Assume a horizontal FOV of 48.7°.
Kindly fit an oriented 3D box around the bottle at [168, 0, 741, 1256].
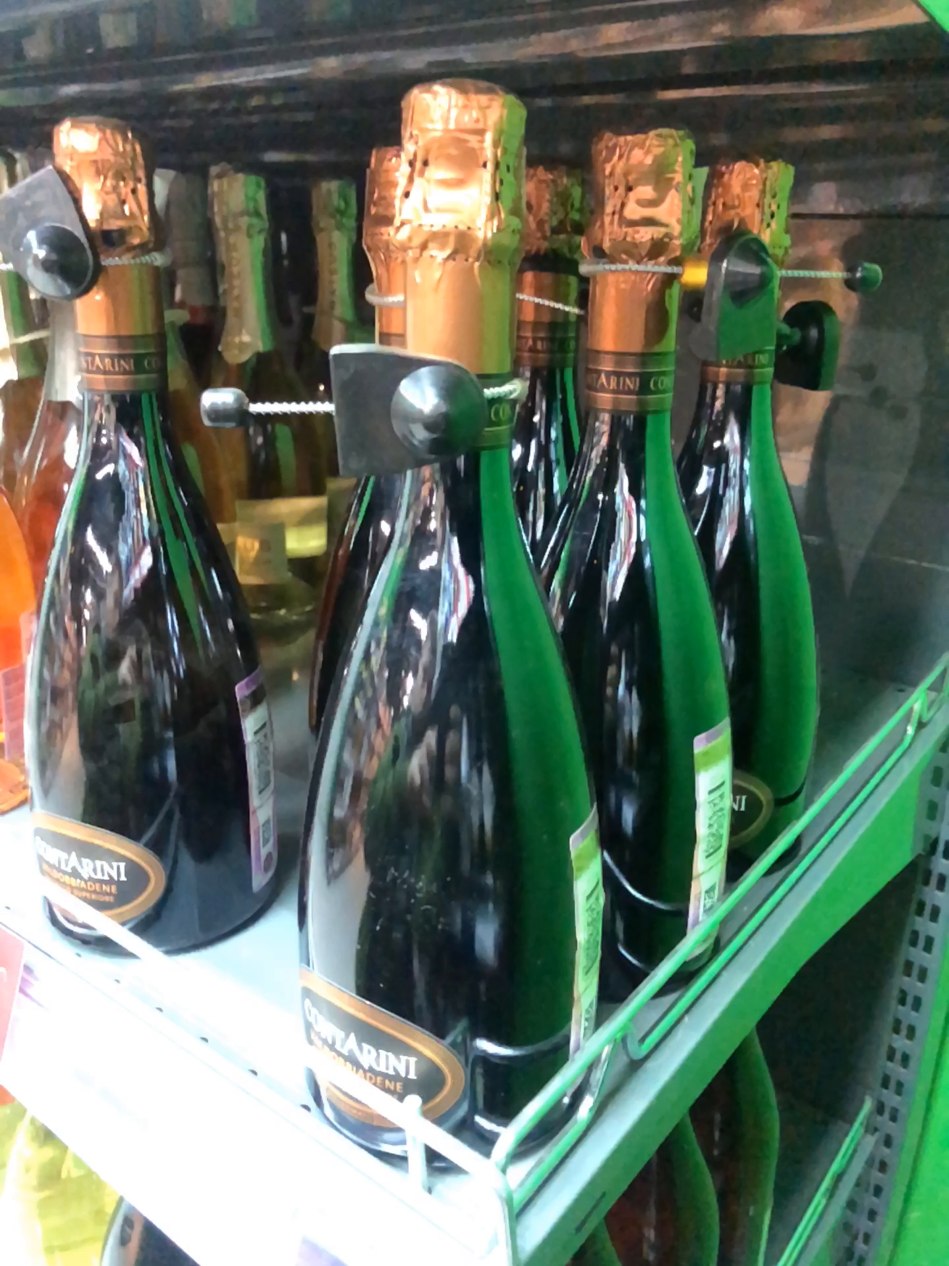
[{"bbox_3d":[-0.006,0.004,0.303,0.100,0.299,0.100,2,18,-1],"label":"bottle"}]
